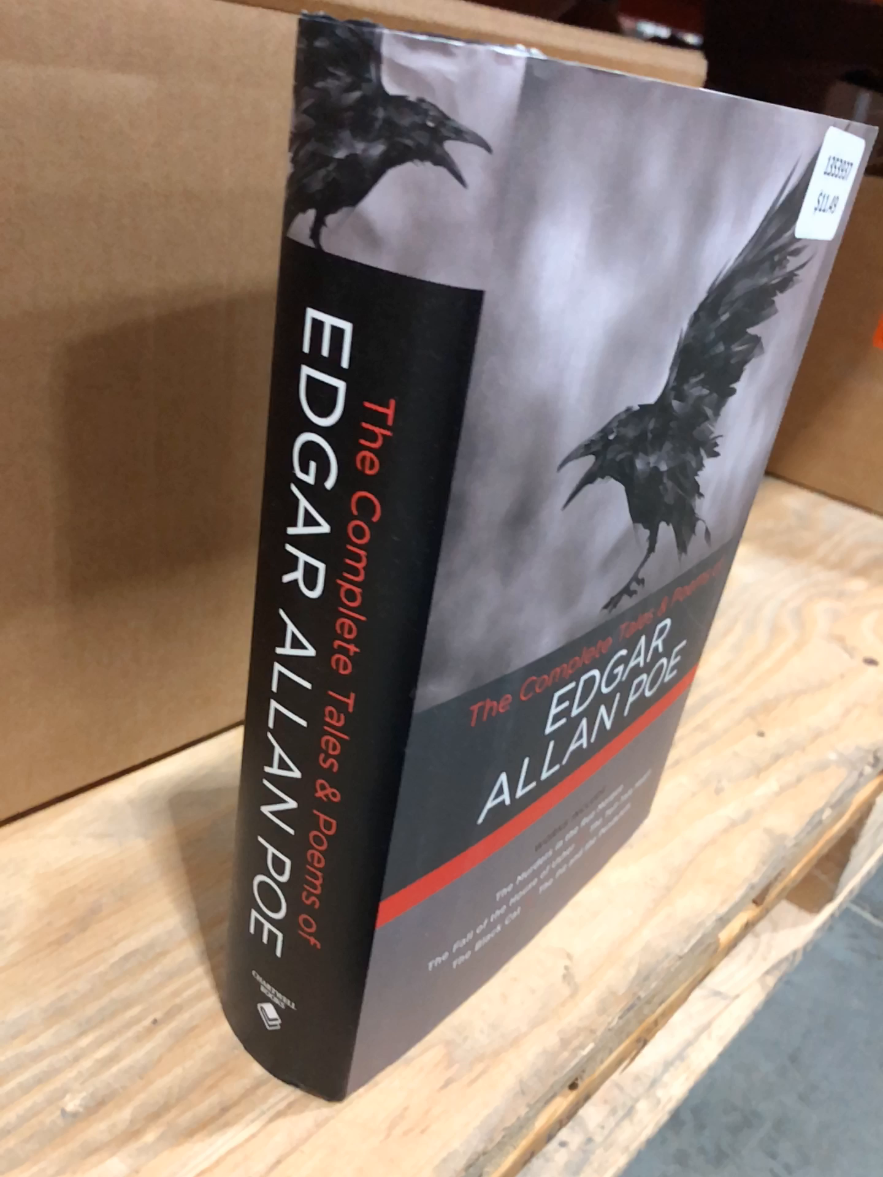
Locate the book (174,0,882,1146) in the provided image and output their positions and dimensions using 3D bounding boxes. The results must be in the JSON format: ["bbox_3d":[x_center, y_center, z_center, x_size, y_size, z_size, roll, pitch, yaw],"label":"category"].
[{"bbox_3d":[0.022,-0.002,0.264,0.054,0.240,0.172,28,32,29],"label":"book"}]
